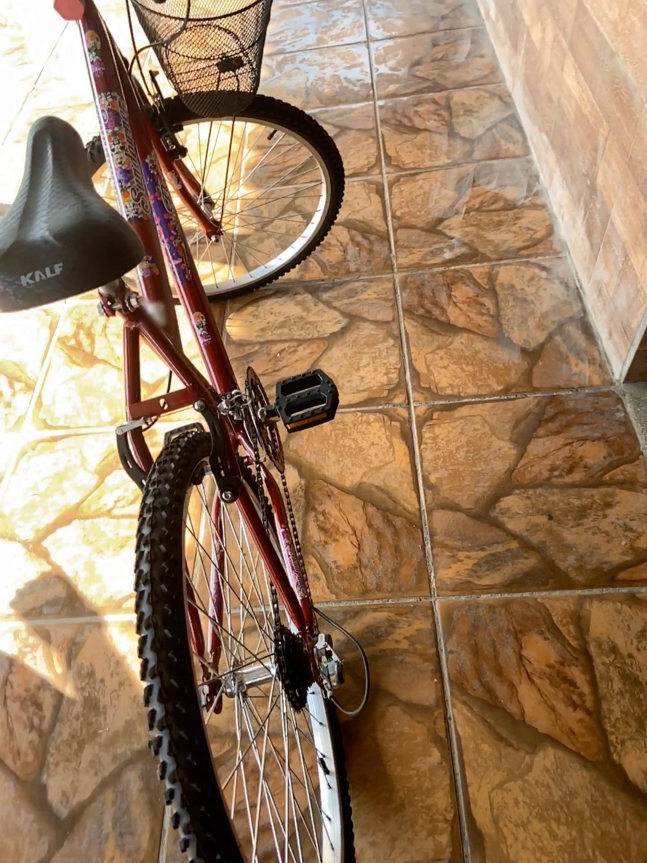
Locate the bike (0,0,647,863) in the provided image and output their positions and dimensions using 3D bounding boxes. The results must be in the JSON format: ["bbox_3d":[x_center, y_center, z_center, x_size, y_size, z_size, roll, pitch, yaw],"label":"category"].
[{"bbox_3d":[-0.132,-0.135,0.899,0.549,1.081,1.415,-2,53,5],"label":"bike"}]
